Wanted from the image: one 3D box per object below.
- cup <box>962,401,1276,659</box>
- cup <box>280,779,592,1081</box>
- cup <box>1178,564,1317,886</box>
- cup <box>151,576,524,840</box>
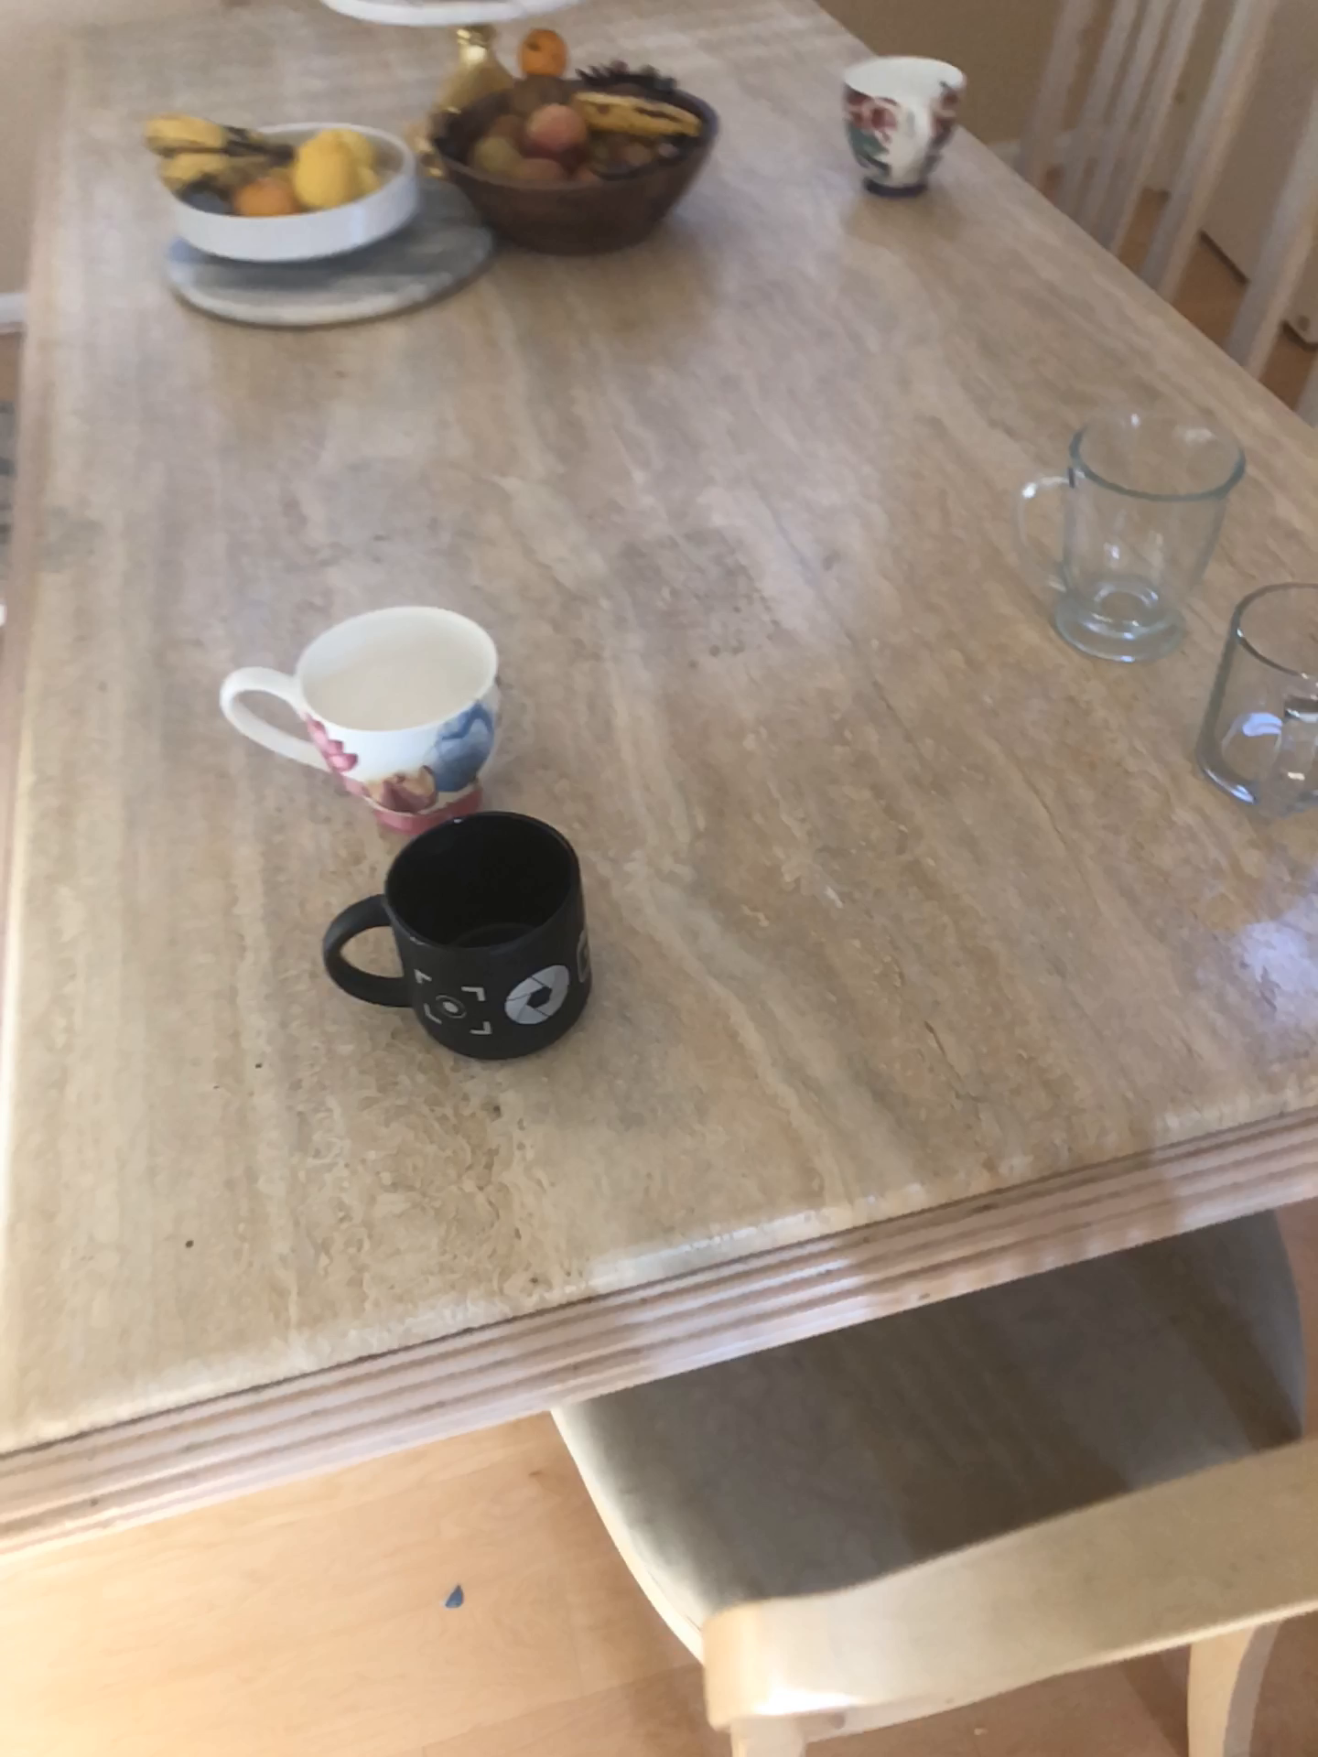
[{"bbox_3d":[0.272,-0.212,0.888,0.150,0.109,0.111,0,46,4],"label":"cup"},{"bbox_3d":[-0.103,0.026,0.717,0.130,0.109,0.091,-4,46,0],"label":"cup"},{"bbox_3d":[0.346,-0.086,0.802,0.090,0.109,0.131,7,47,10],"label":"cup"},{"bbox_3d":[-0.169,-0.094,0.805,0.170,0.099,0.101,-1,46,2],"label":"cup"}]
